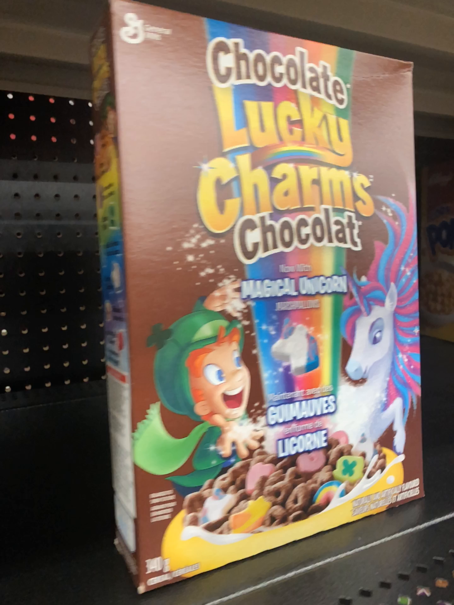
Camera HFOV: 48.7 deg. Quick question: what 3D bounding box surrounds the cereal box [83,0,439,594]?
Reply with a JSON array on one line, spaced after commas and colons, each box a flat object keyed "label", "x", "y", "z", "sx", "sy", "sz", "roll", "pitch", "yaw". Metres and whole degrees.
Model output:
[{"label": "cereal box", "x": 0.028, "y": -0.012, "z": 0.306, "sx": 0.200, "sy": 0.290, "sz": 0.060, "roll": -4, "pitch": 2, "yaw": -26}]
